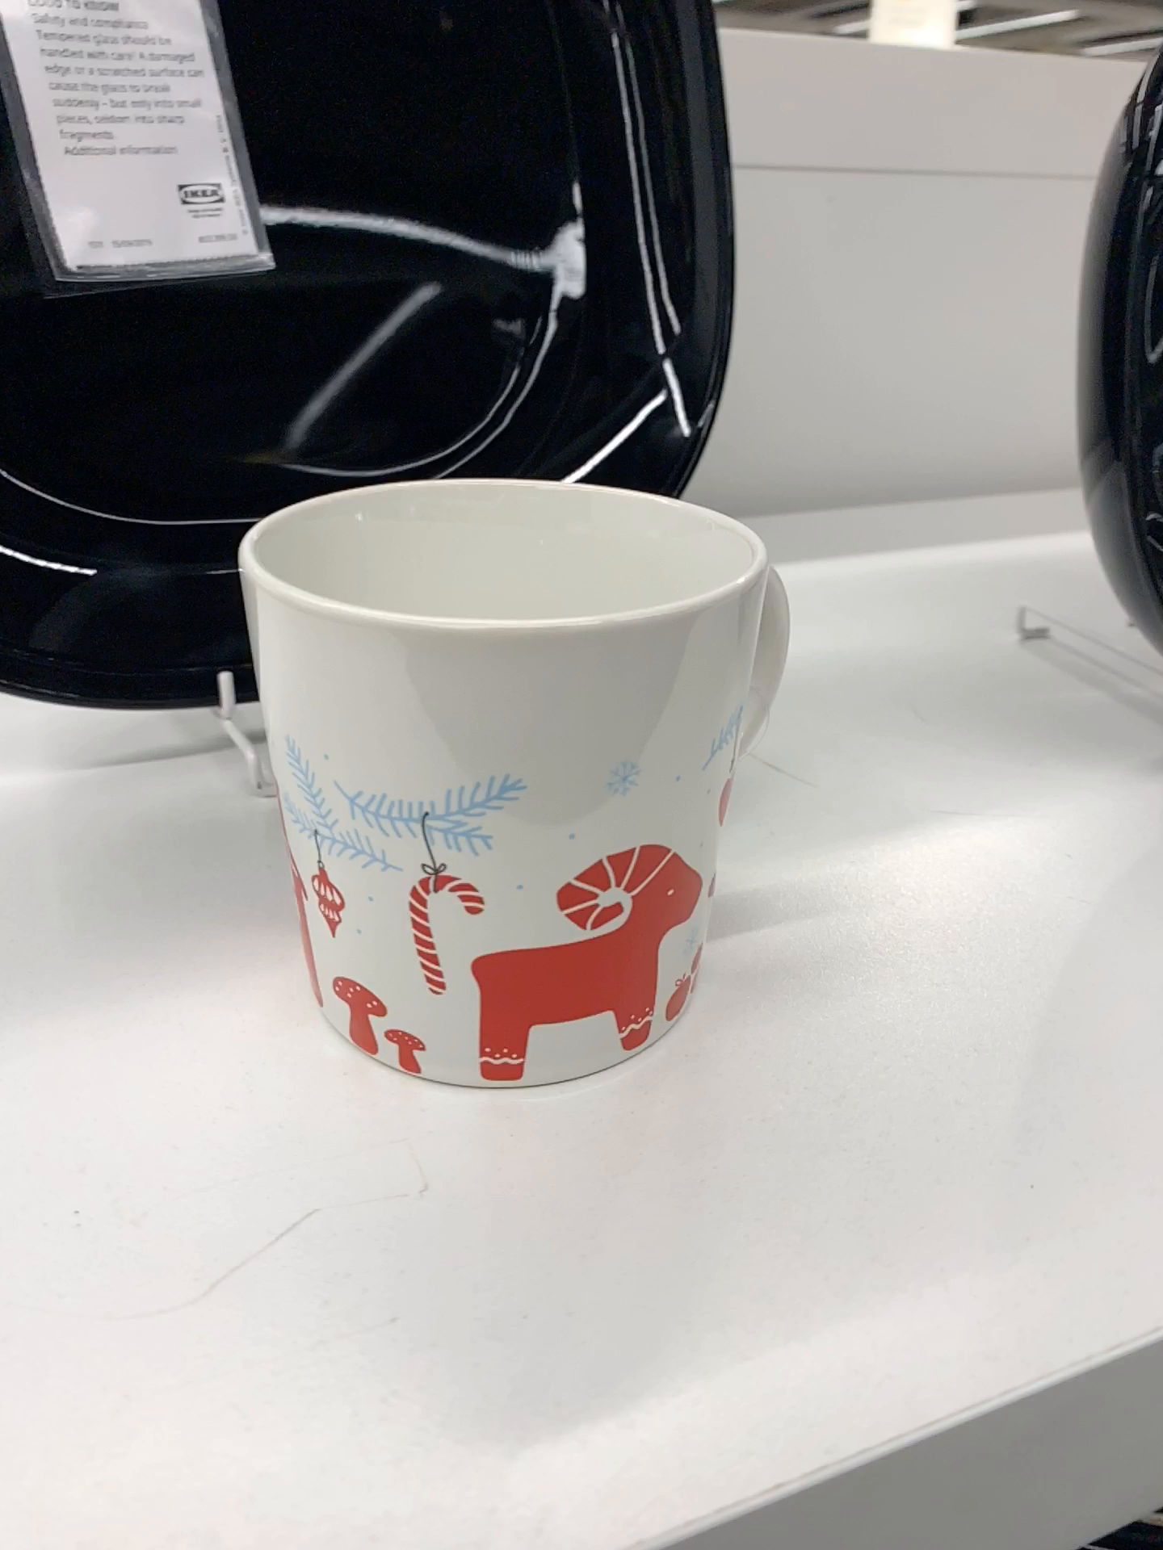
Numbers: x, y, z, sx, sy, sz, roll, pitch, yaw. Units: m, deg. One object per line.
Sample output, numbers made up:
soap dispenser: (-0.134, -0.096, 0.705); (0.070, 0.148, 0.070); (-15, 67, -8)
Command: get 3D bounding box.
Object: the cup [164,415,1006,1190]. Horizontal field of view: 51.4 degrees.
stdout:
cup: (0.005, -0.011, 0.229); (0.090, 0.090, 0.120); (21, 32, 37)
